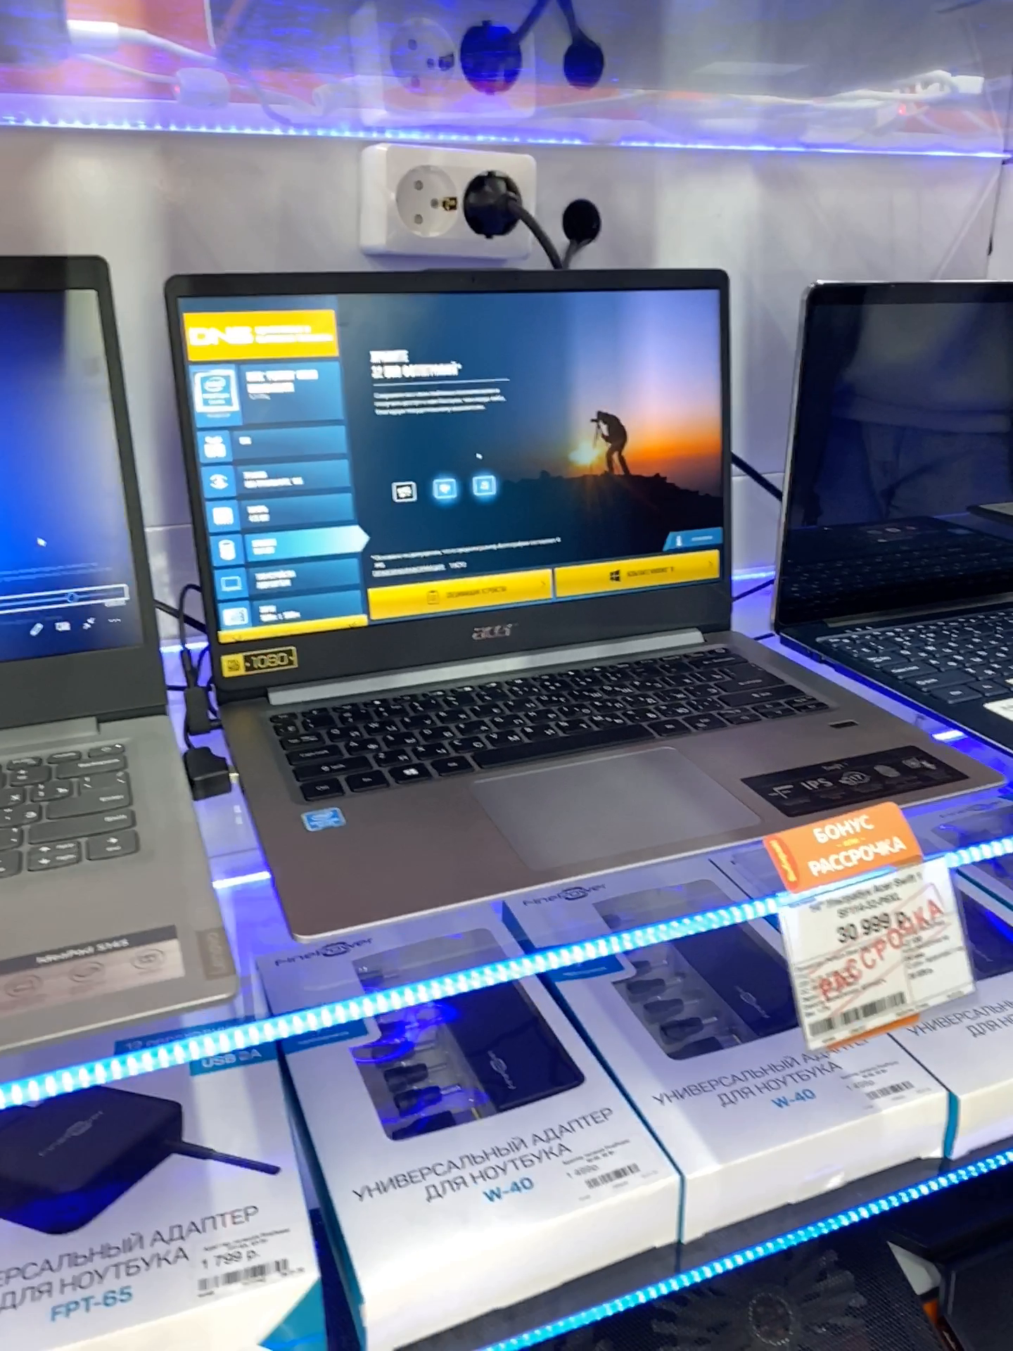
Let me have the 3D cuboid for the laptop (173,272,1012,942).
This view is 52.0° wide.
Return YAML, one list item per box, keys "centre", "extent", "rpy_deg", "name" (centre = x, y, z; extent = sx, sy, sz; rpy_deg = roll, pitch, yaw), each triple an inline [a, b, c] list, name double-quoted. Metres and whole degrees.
- centre: [0.032, -0.074, 0.483]
  extent: [0.319, 0.206, 0.258]
  rpy_deg: [-8, 23, -20]
  name: "laptop"
